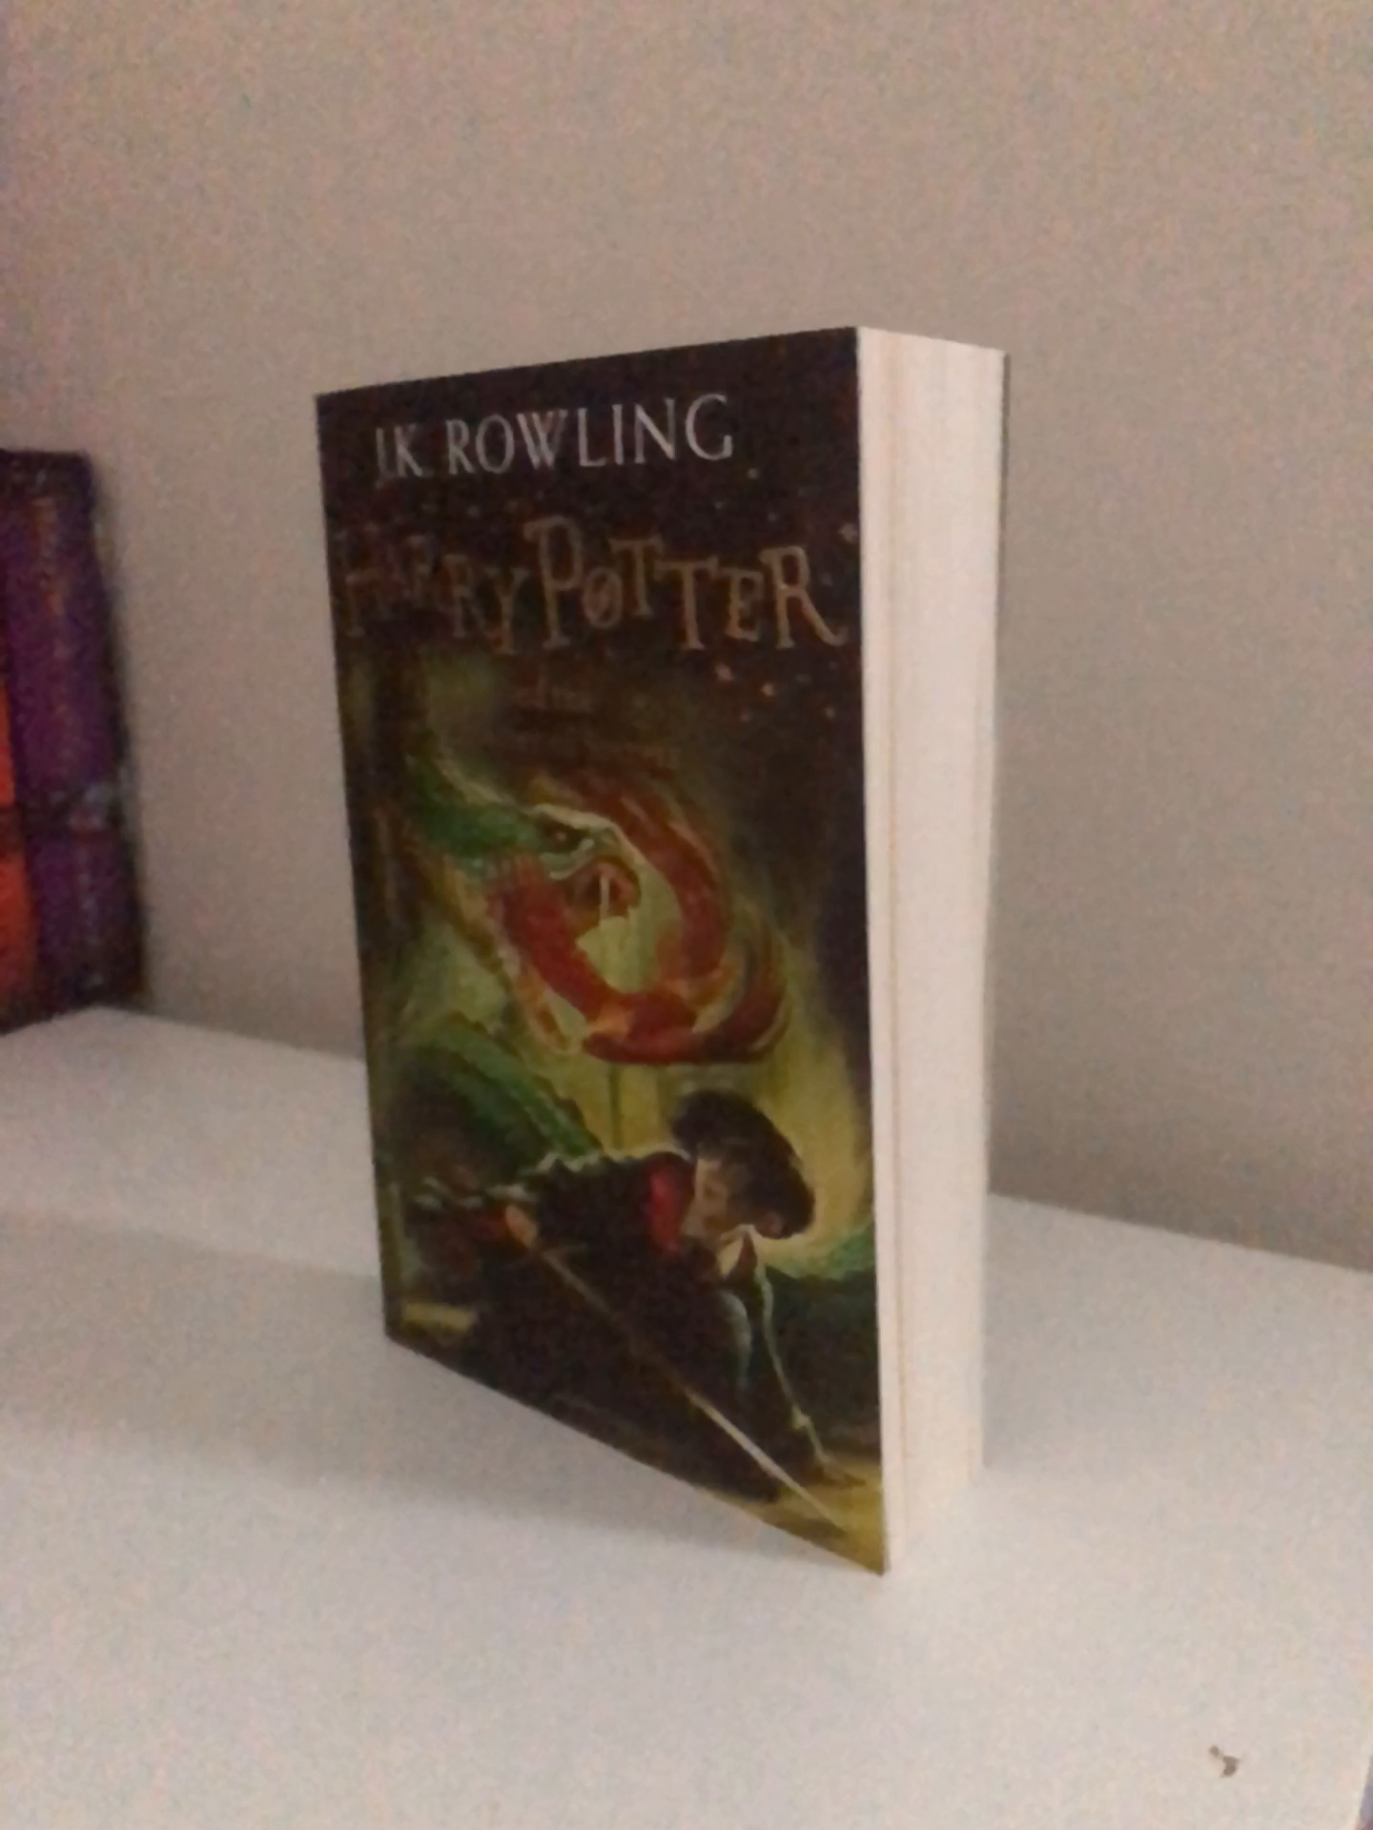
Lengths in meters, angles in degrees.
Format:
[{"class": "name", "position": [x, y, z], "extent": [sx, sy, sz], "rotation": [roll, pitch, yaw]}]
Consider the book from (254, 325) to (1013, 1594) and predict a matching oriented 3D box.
[{"class": "book", "position": [-0.010, 0.003, 0.275], "extent": [0.130, 0.190, 0.039], "rotation": [10, 21, 39]}]
